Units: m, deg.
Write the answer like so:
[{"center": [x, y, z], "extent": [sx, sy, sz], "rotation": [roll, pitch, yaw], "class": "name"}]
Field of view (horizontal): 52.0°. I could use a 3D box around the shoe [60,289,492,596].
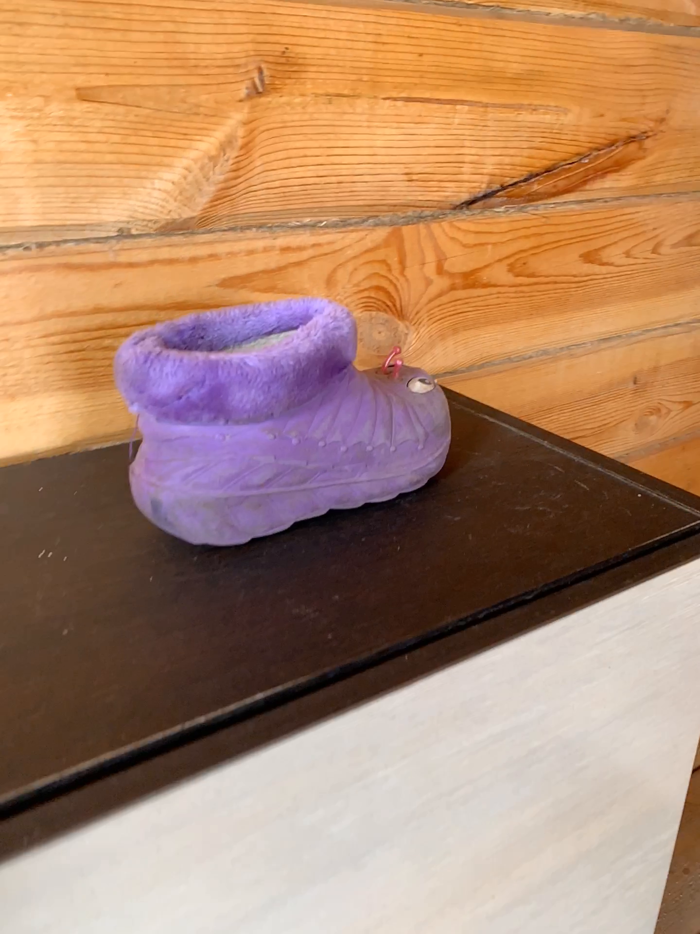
[{"center": [-0.032, -0.027, 0.383], "extent": [0.201, 0.099, 0.090], "rotation": [-16, 27, -31], "class": "shoe"}]
